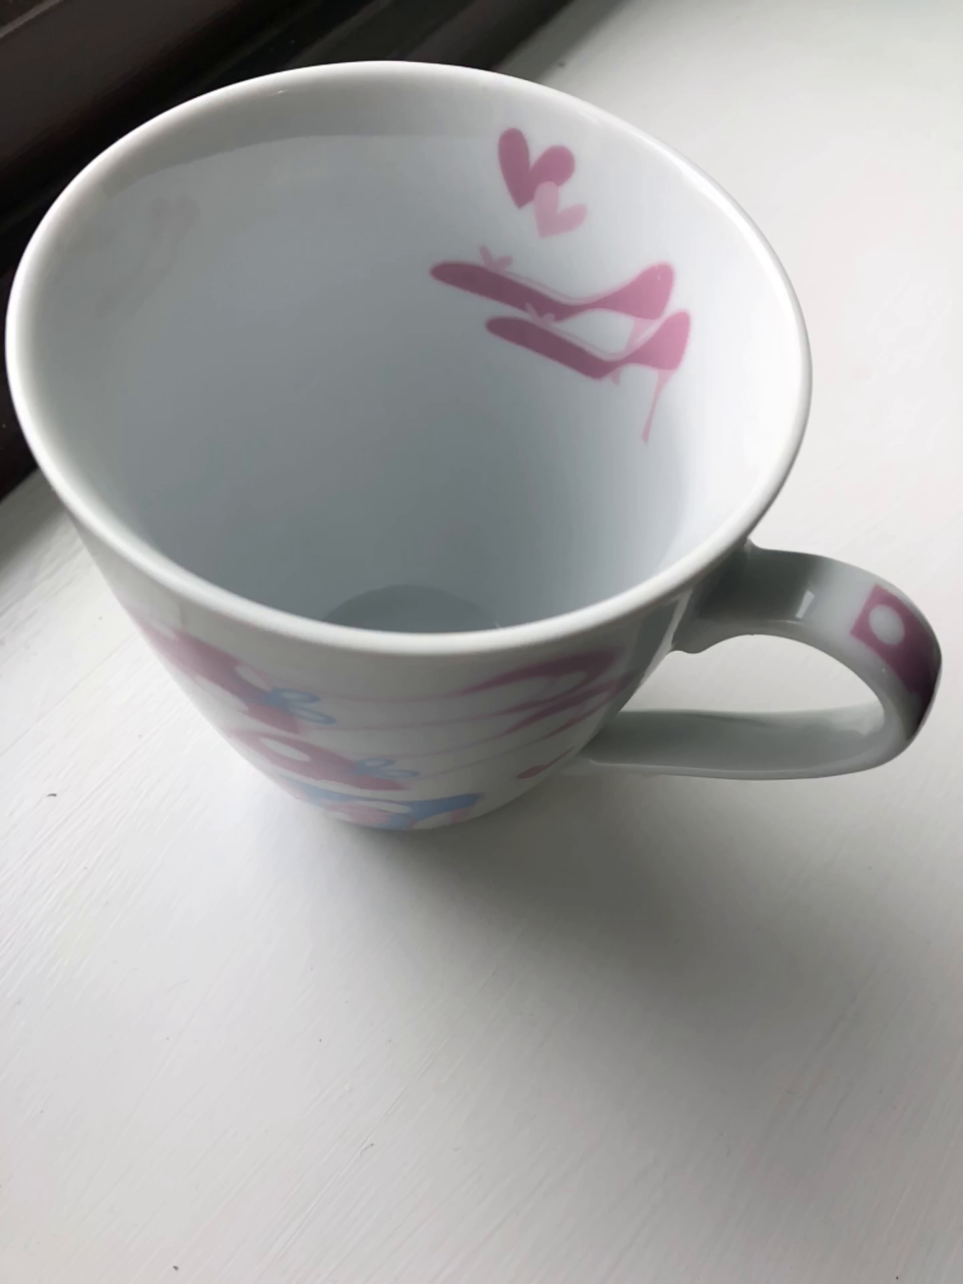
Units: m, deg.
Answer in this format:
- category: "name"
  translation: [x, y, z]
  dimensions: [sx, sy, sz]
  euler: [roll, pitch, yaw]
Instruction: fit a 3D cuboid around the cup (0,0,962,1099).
- category: "cup"
  translation: [0.003, -0.018, 0.178]
  dimensions: [0.140, 0.090, 0.111]
  euler: [25, 60, 10]
